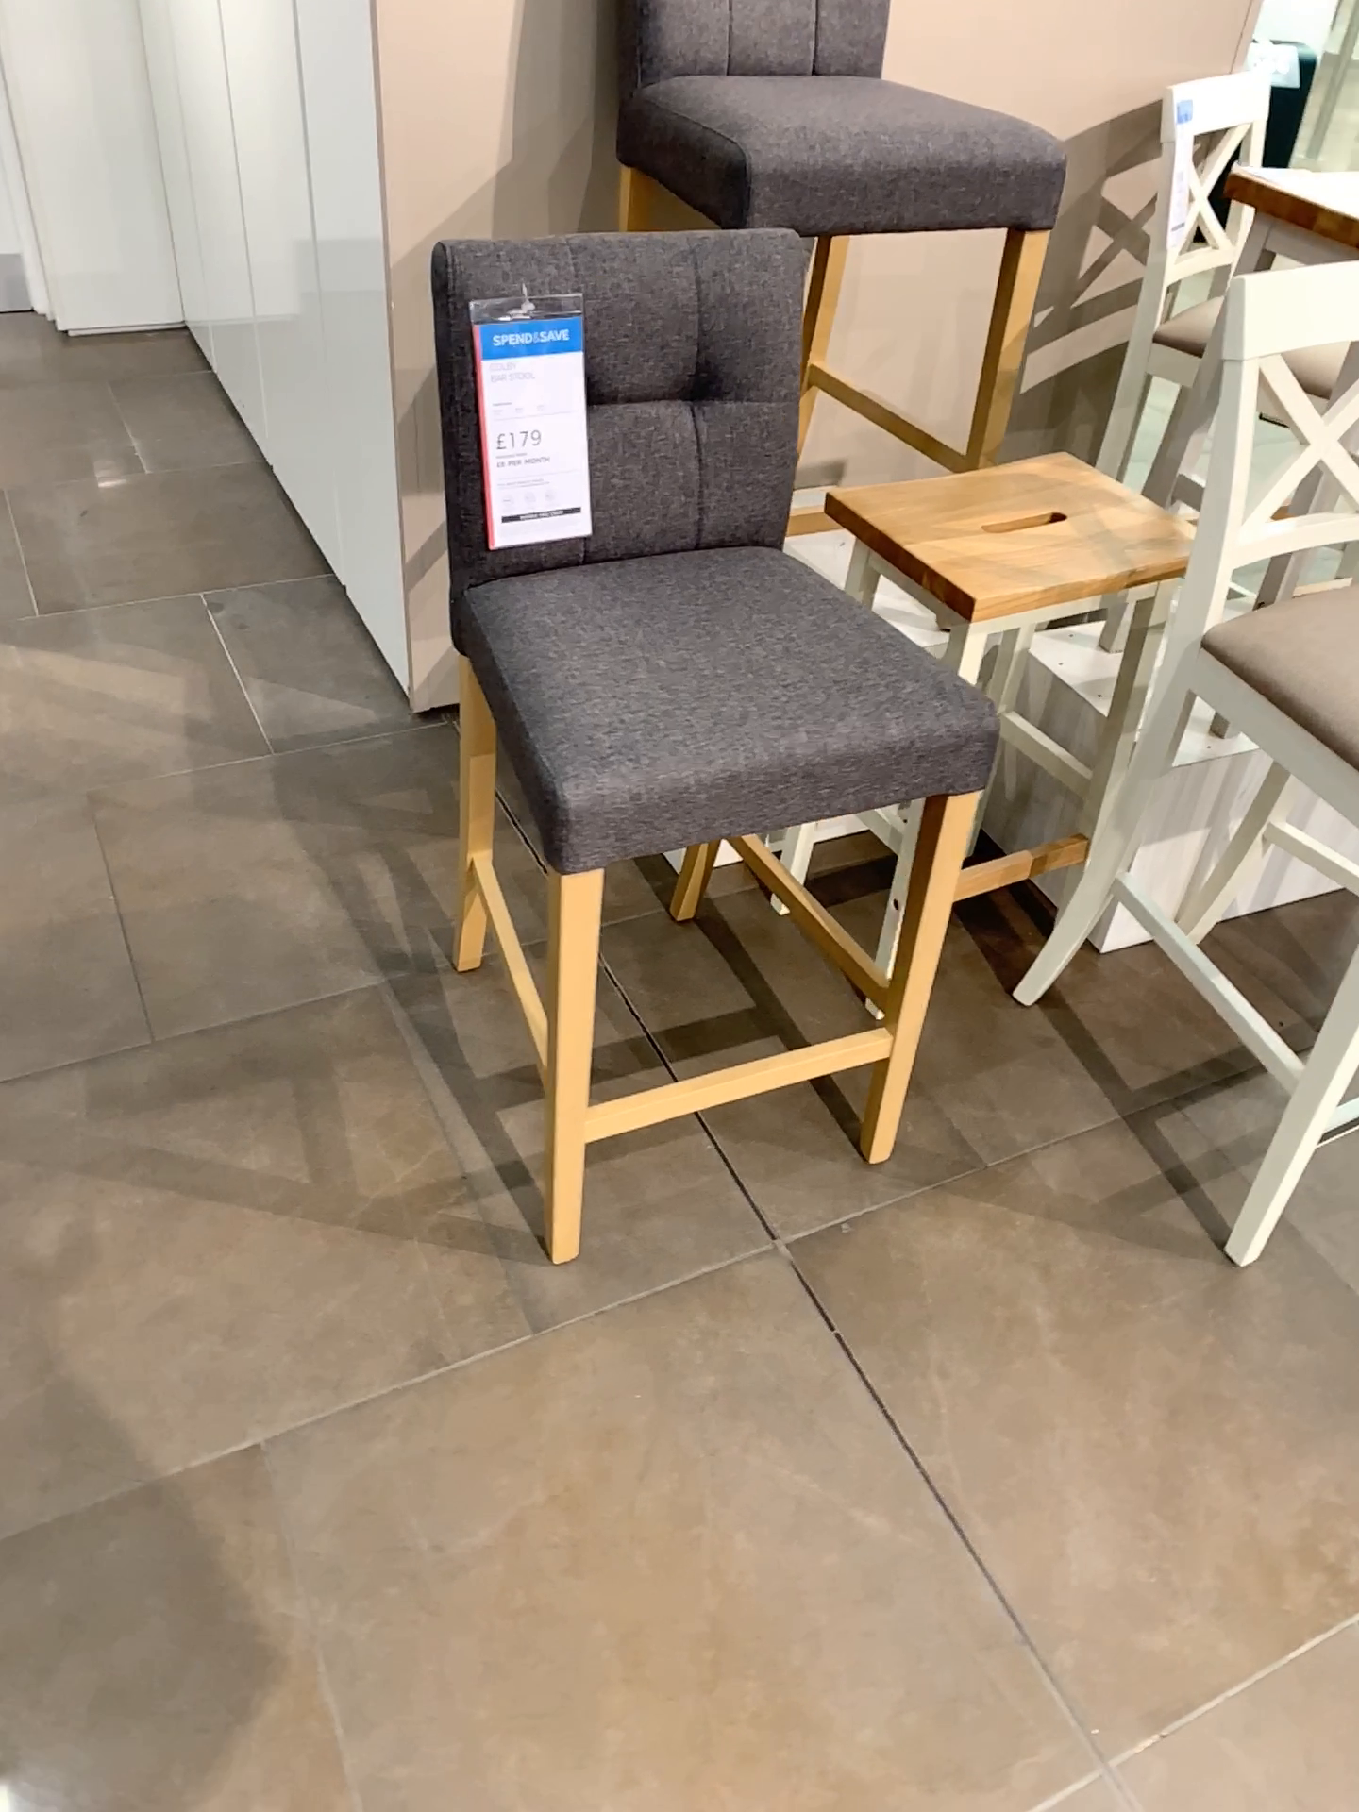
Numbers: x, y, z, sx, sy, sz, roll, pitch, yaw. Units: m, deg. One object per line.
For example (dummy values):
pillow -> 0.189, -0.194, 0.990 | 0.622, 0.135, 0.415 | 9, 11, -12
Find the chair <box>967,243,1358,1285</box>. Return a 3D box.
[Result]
chair -> 0.762, -0.148, 1.519 | 0.507, 0.938, 0.502 | -14, 42, -22

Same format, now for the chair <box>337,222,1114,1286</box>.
chair -> -0.018, -0.156, 1.460 | 0.487, 0.908, 0.522 | -13, 42, -22

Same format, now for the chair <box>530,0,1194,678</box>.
chair -> 0.155, -0.883, 1.836 | 0.547, 0.918, 0.543 | -14, 42, -22
